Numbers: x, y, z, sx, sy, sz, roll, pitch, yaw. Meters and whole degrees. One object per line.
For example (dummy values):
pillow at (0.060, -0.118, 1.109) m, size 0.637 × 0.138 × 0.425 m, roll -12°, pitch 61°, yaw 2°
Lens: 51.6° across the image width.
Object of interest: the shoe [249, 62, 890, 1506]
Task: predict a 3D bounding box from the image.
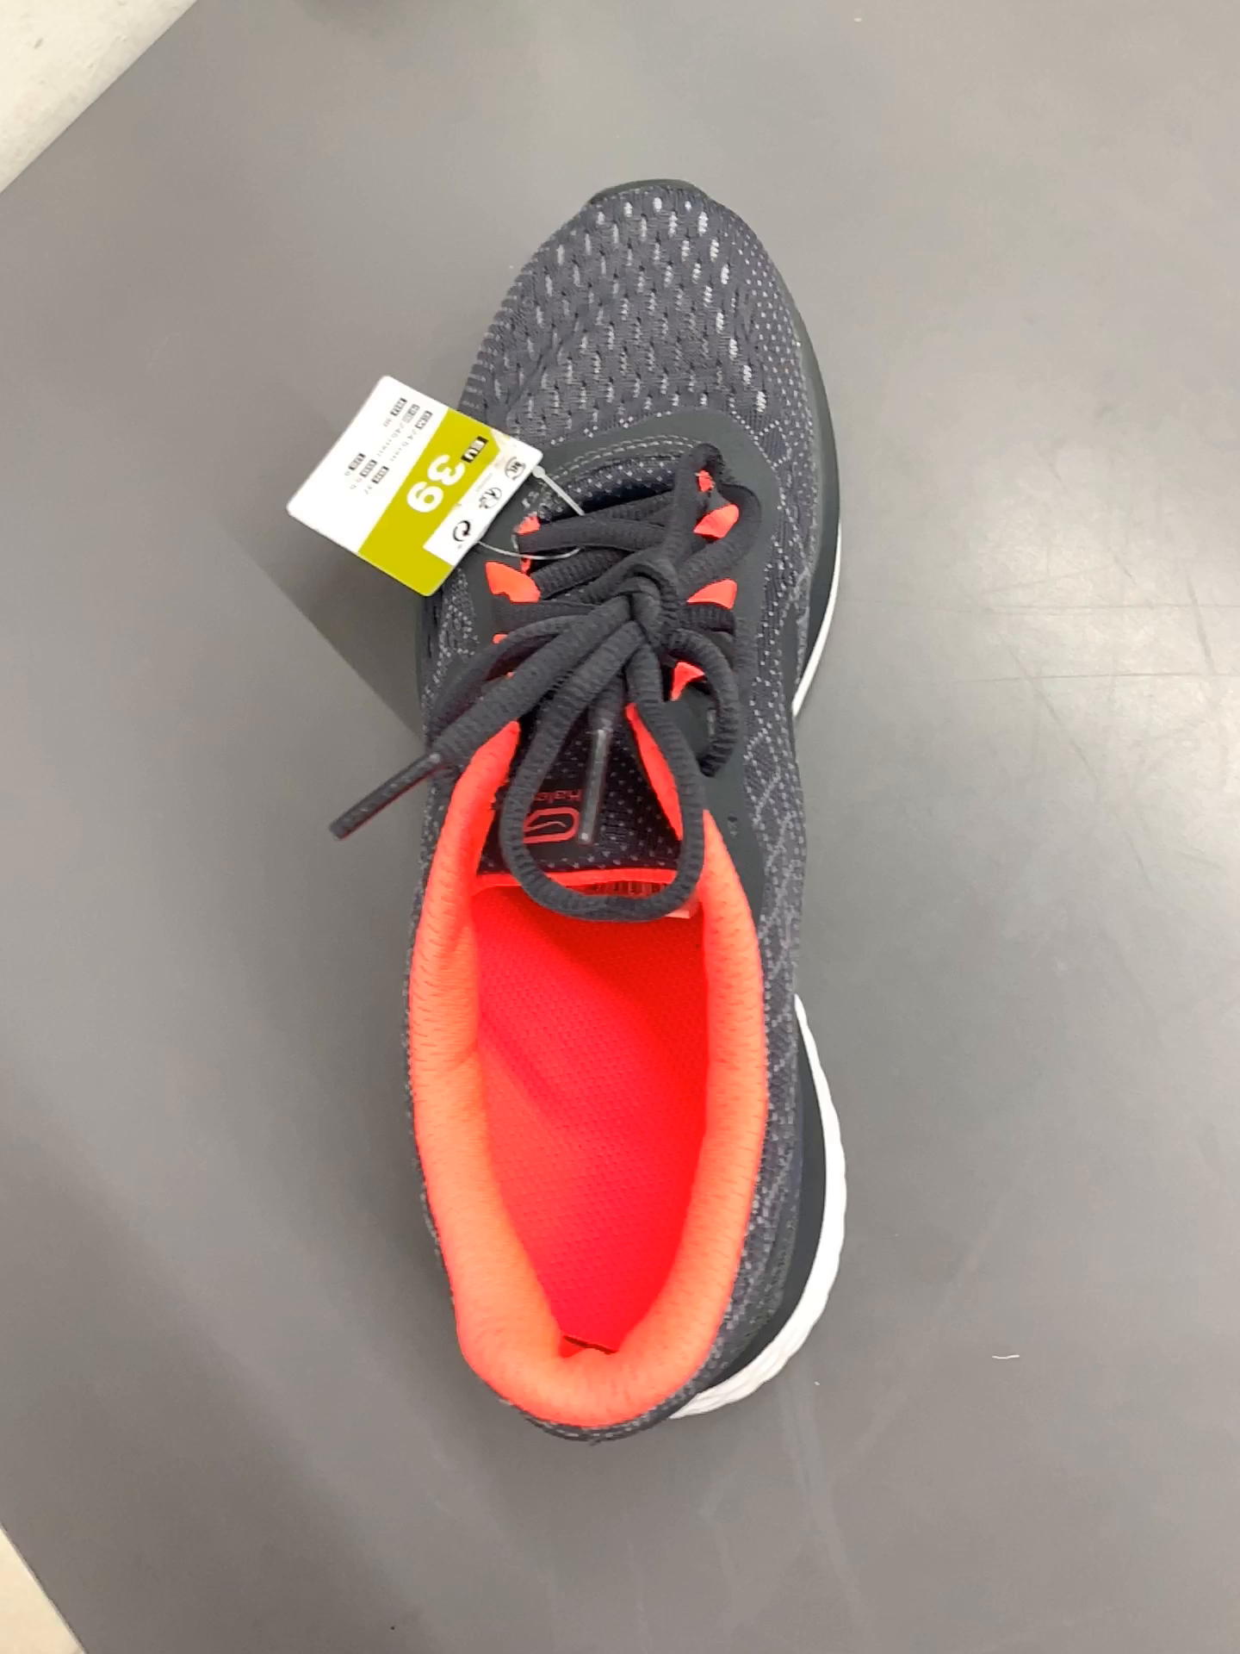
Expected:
shoe at (0.002, -0.011, 0.296) m, size 0.110 × 0.110 × 0.270 m, roll -1°, pitch 78°, yaw 11°
